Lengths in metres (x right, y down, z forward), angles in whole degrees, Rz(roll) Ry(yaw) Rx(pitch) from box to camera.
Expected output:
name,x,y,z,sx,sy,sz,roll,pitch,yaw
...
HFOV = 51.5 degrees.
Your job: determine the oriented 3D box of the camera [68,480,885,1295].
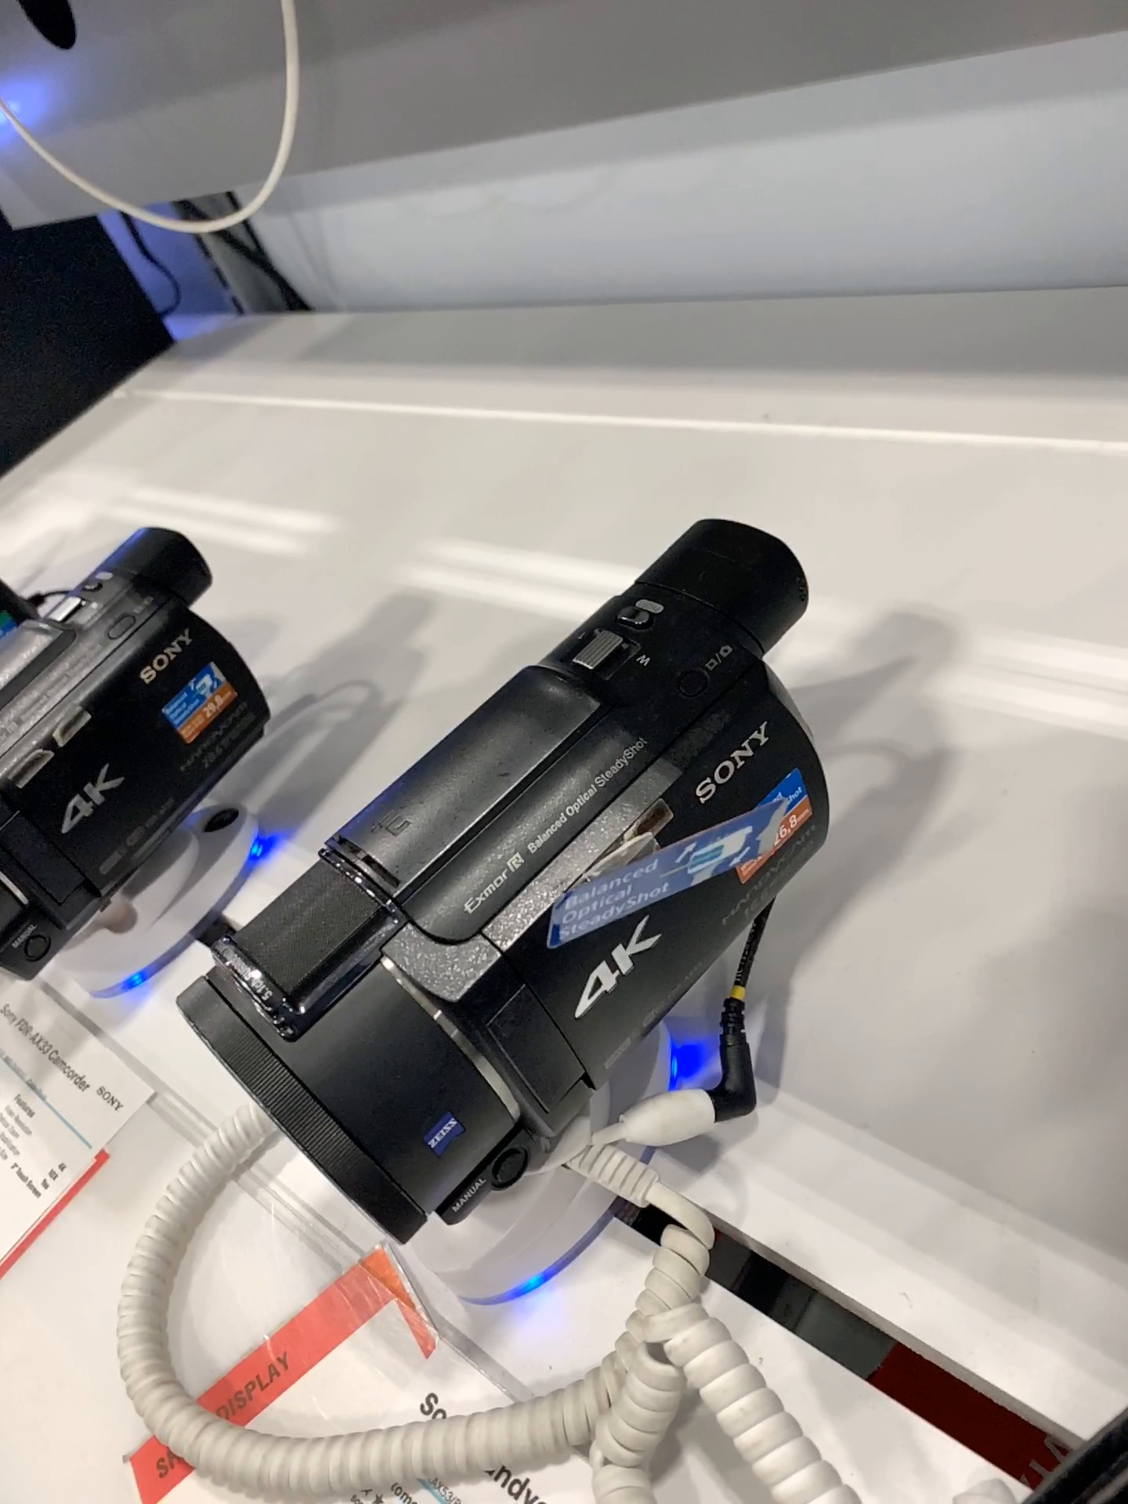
name,x,y,z,sx,sy,sz,roll,pitch,yaw
camera,-0.012,0.021,0.253,0.151,0.071,0.070,-44,42,-18
